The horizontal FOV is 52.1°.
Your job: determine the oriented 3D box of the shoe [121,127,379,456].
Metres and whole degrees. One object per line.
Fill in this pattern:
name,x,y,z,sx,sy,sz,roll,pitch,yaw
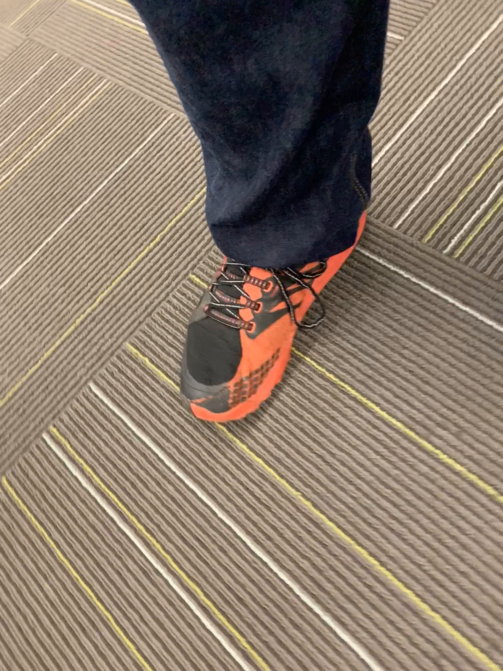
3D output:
shoe,0.016,-0.052,0.561,0.120,0.120,0.320,22,74,23
